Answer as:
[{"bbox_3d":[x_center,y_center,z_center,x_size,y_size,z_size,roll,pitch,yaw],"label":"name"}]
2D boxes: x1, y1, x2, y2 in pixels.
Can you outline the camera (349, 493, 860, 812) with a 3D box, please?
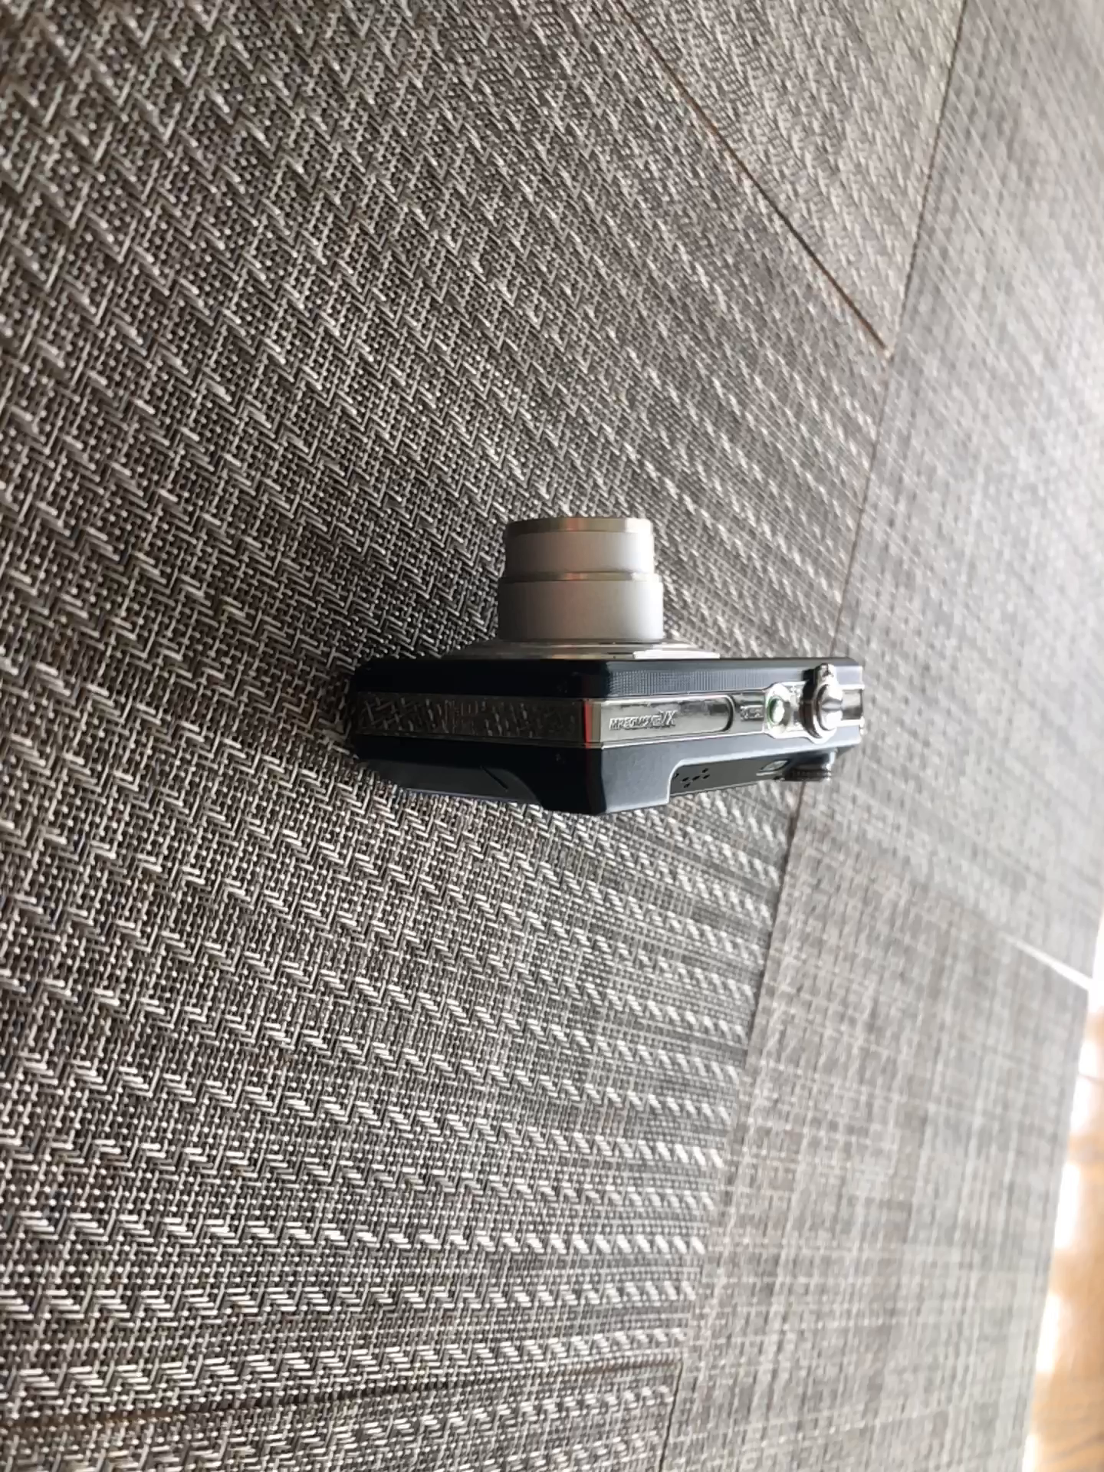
[{"bbox_3d":[0.014,-0.016,0.242,0.096,0.052,0.049,-4,96,-50],"label":"camera"}]
